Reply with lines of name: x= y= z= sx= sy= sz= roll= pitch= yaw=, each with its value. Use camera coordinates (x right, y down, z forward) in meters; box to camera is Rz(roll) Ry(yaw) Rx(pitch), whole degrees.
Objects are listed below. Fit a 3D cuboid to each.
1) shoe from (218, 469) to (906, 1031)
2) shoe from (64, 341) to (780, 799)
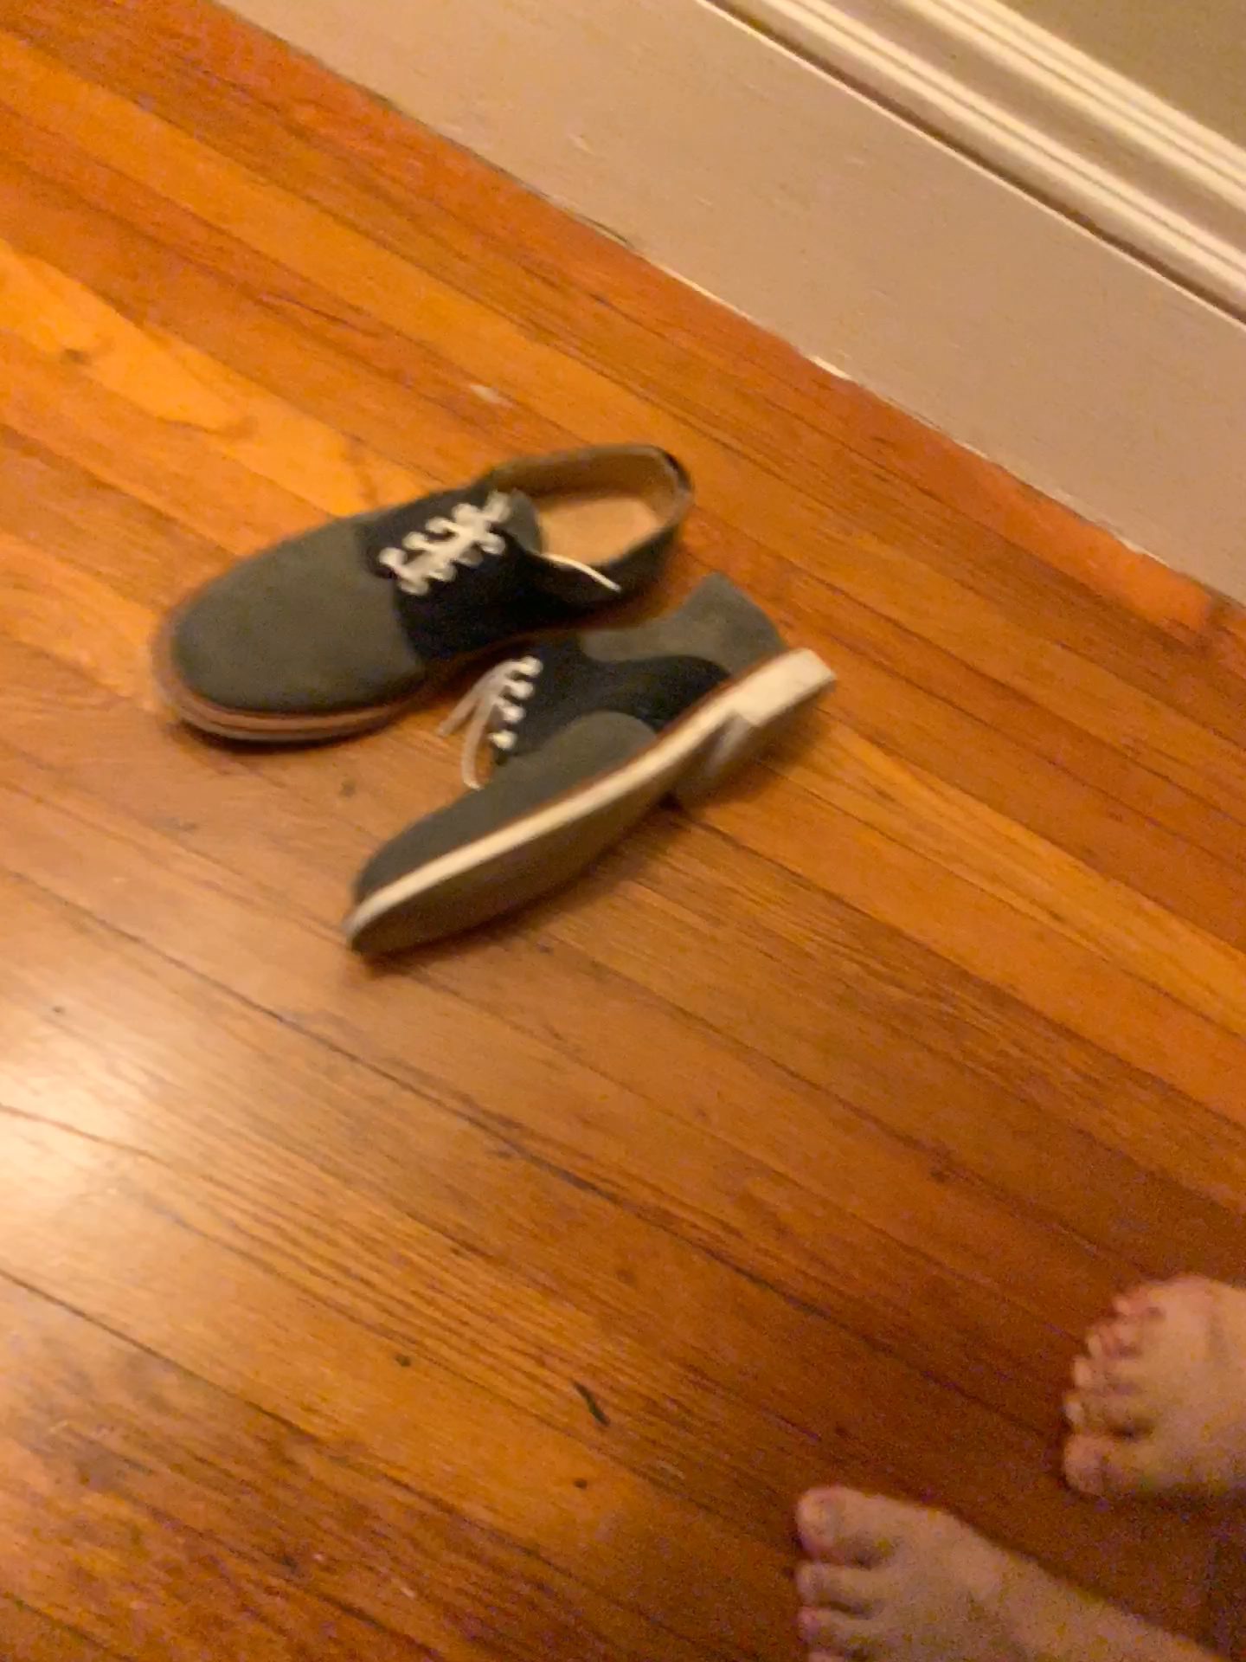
shoe: x=-0.029 y=-0.044 z=0.648 sx=0.310 sy=0.130 sz=0.120 roll=-30 pitch=78 yaw=-22
shoe: x=-0.096 y=-0.137 z=0.645 sx=0.310 sy=0.100 sz=0.130 roll=-18 pitch=76 yaw=-19
